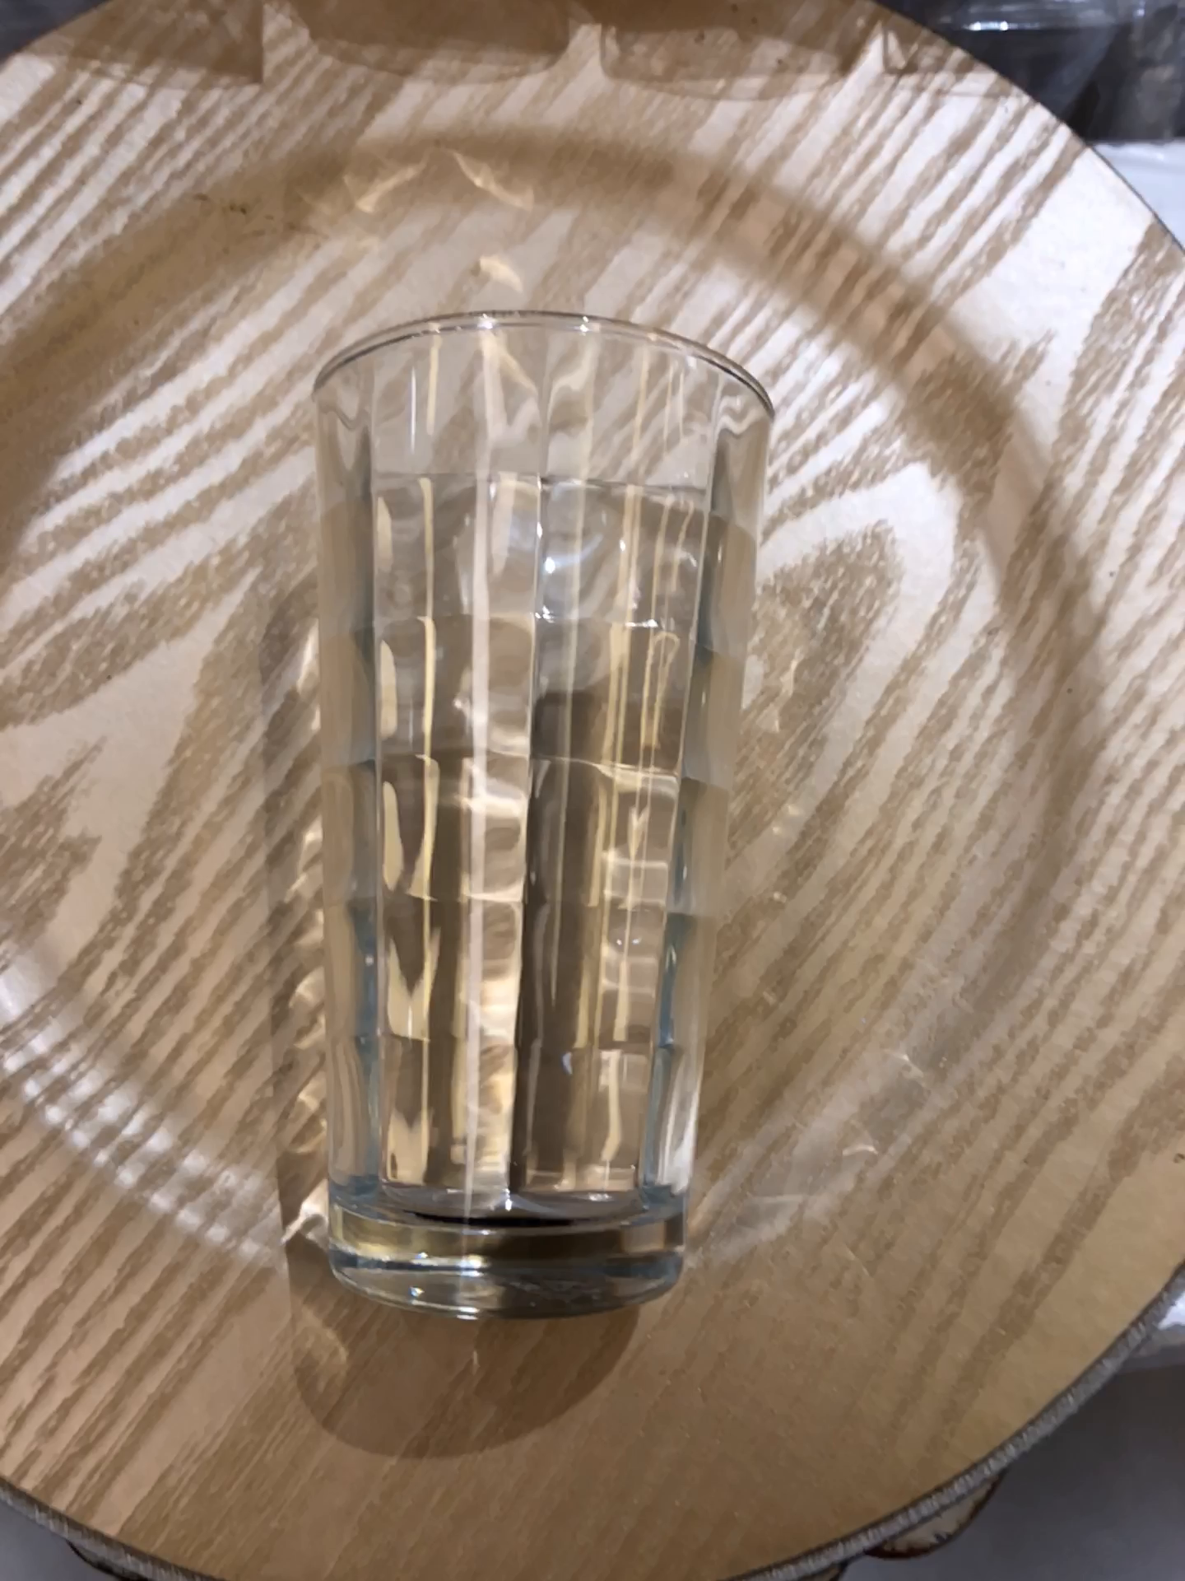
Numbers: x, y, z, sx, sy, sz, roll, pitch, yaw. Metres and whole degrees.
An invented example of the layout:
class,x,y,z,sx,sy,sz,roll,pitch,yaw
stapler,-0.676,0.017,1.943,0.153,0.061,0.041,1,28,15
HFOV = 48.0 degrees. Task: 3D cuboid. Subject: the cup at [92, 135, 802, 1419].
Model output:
class,x,y,z,sx,sy,sz,roll,pitch,yaw
cup,-0.017,-0.002,0.226,0.090,0.080,0.180,2,80,0
